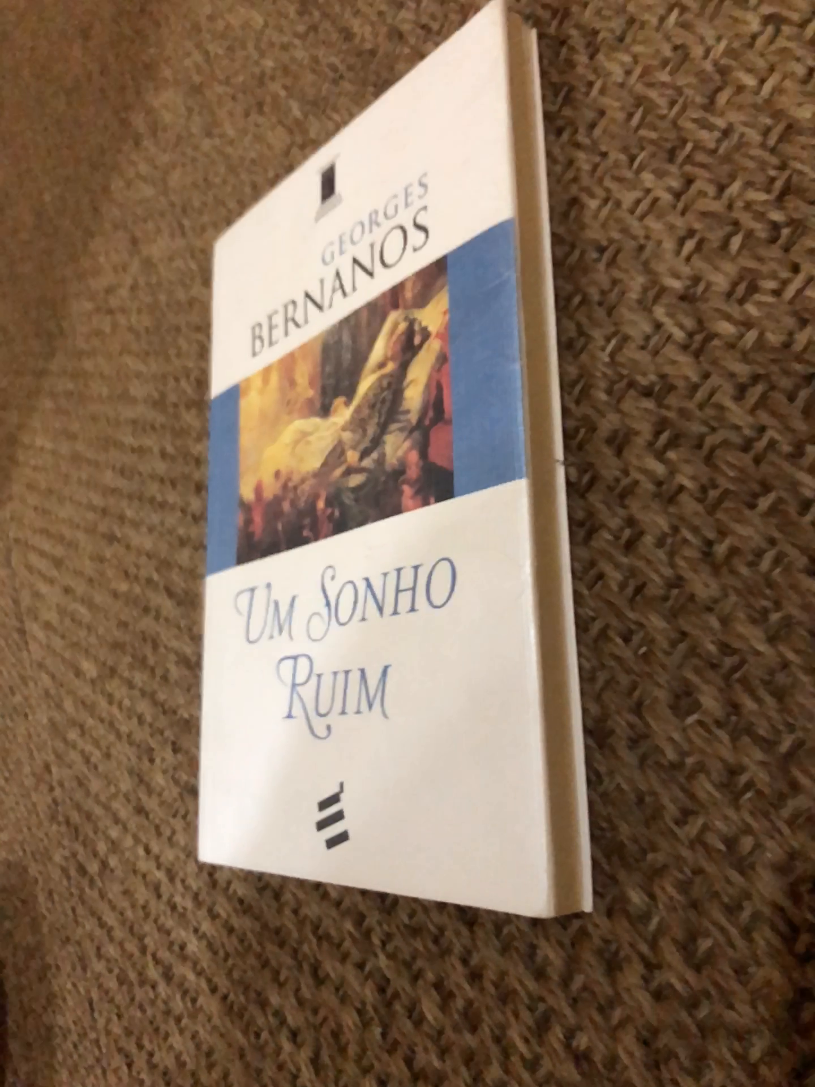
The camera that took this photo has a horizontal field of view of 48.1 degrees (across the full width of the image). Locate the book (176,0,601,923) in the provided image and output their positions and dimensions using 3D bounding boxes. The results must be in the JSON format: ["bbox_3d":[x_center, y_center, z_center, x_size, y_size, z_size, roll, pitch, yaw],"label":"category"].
[{"bbox_3d":[-0.017,-0.015,0.244,0.141,0.020,0.199,-16,71,48],"label":"book"}]
